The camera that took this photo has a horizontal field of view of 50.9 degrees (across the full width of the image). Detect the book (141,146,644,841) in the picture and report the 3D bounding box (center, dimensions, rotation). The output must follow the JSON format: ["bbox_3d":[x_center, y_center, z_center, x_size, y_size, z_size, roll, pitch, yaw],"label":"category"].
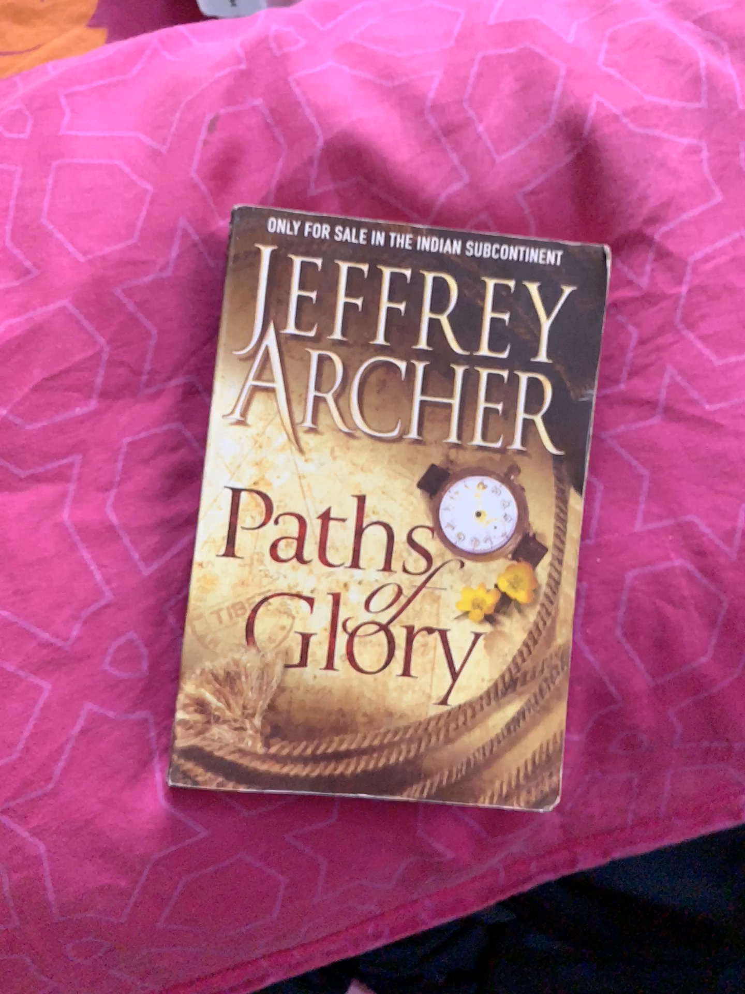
[{"bbox_3d":[0.007,-0.002,0.236,0.120,0.040,0.180,6,88,0],"label":"book"}]
